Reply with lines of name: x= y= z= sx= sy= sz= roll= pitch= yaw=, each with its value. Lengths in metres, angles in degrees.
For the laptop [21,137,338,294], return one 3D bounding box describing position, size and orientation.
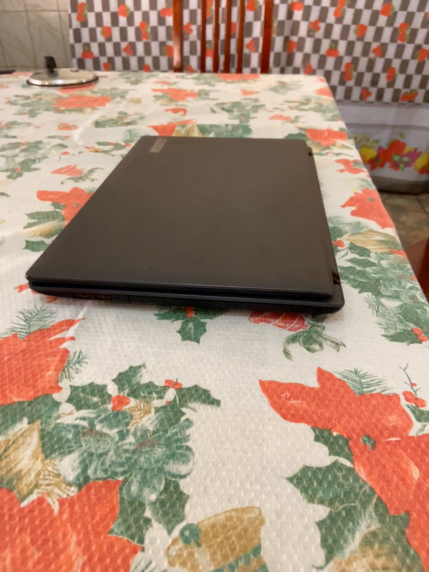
laptop: x=-0.007 y=-0.099 z=0.453 sx=0.223 sy=0.001 sz=0.352 roll=4 pitch=34 yaw=5
